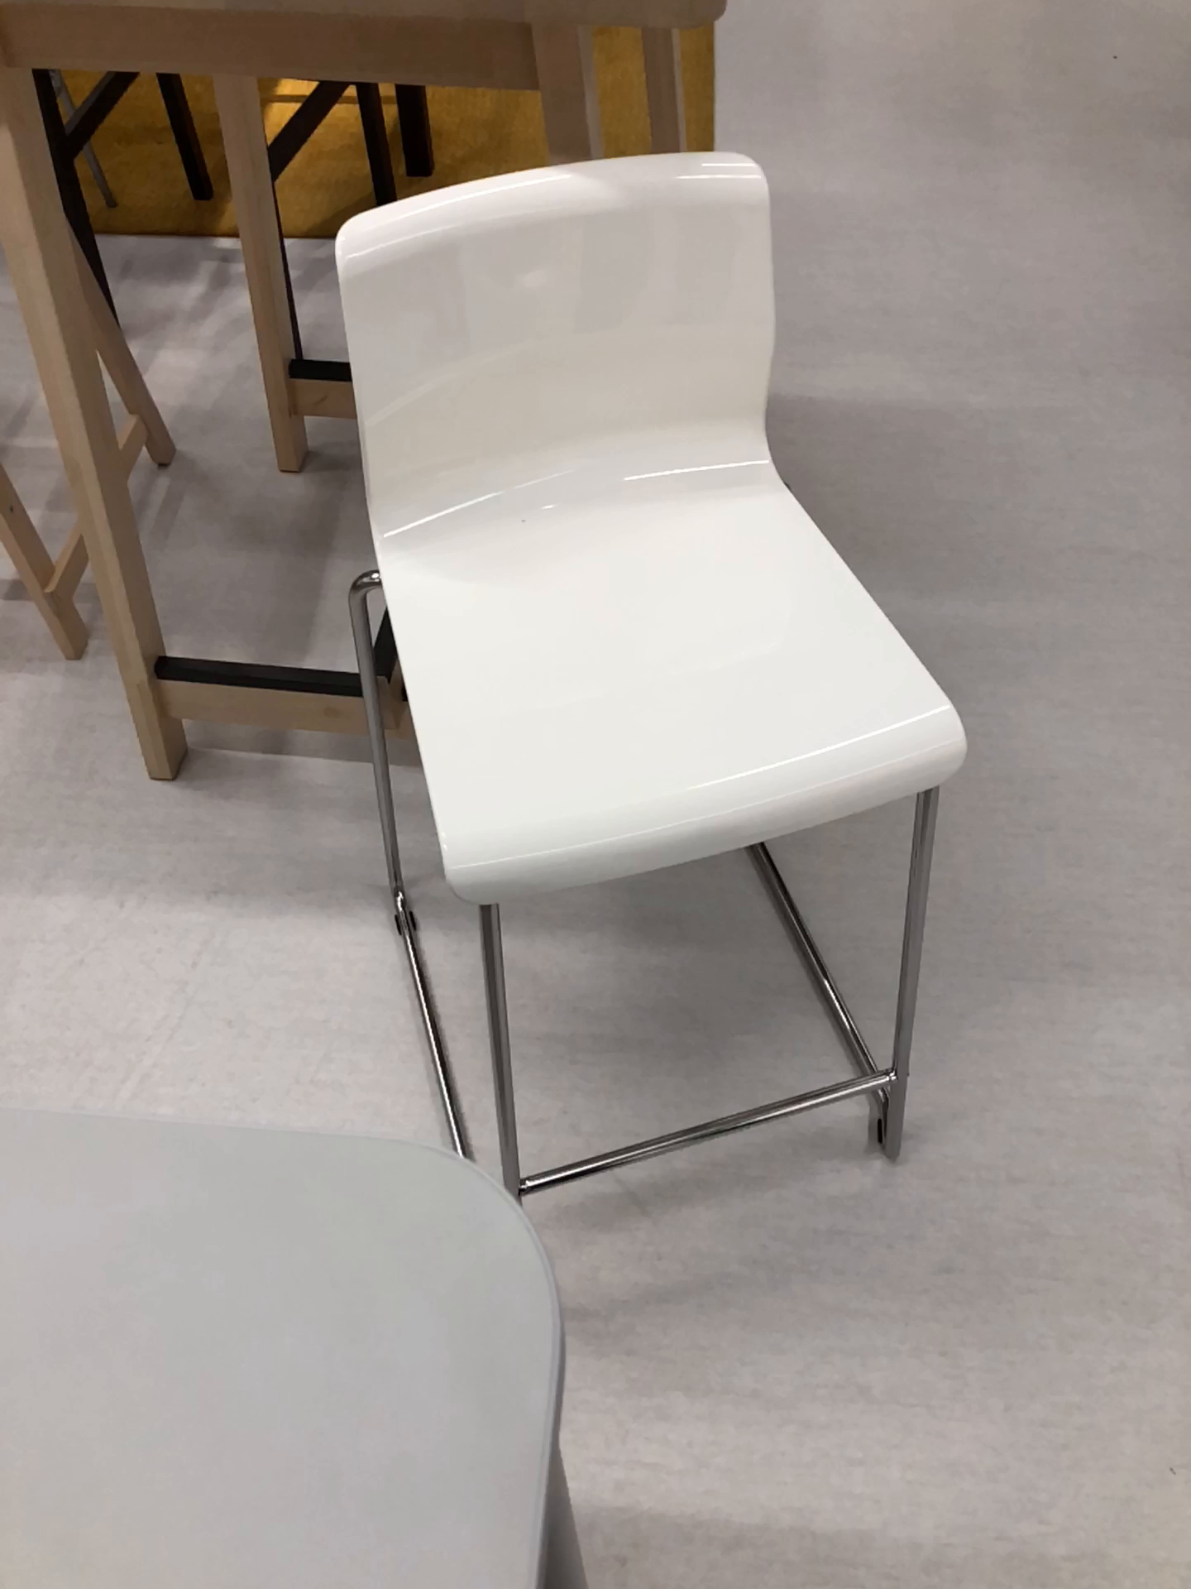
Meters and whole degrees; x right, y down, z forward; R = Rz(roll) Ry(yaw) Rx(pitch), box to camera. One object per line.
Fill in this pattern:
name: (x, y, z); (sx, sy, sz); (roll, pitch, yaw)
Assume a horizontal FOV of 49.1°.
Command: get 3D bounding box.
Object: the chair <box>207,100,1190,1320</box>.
chair: (0.057, -0.014, 1.134); (0.500, 0.825, 0.553); (-15, 54, -10)
